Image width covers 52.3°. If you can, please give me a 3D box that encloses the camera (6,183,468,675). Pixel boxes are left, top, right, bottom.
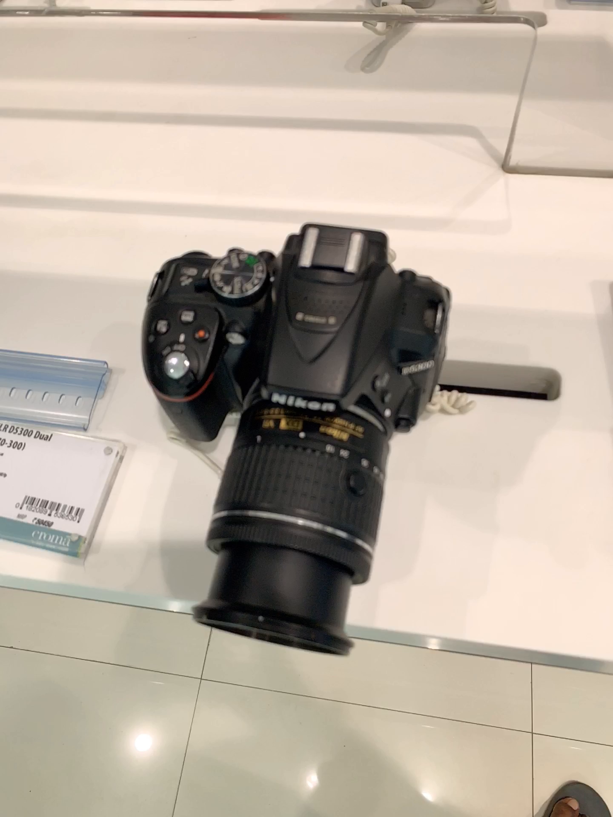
[{"bbox_3d":[-0.009,0.011,0.240,0.110,0.110,0.140,9,64,9],"label":"camera"}]
